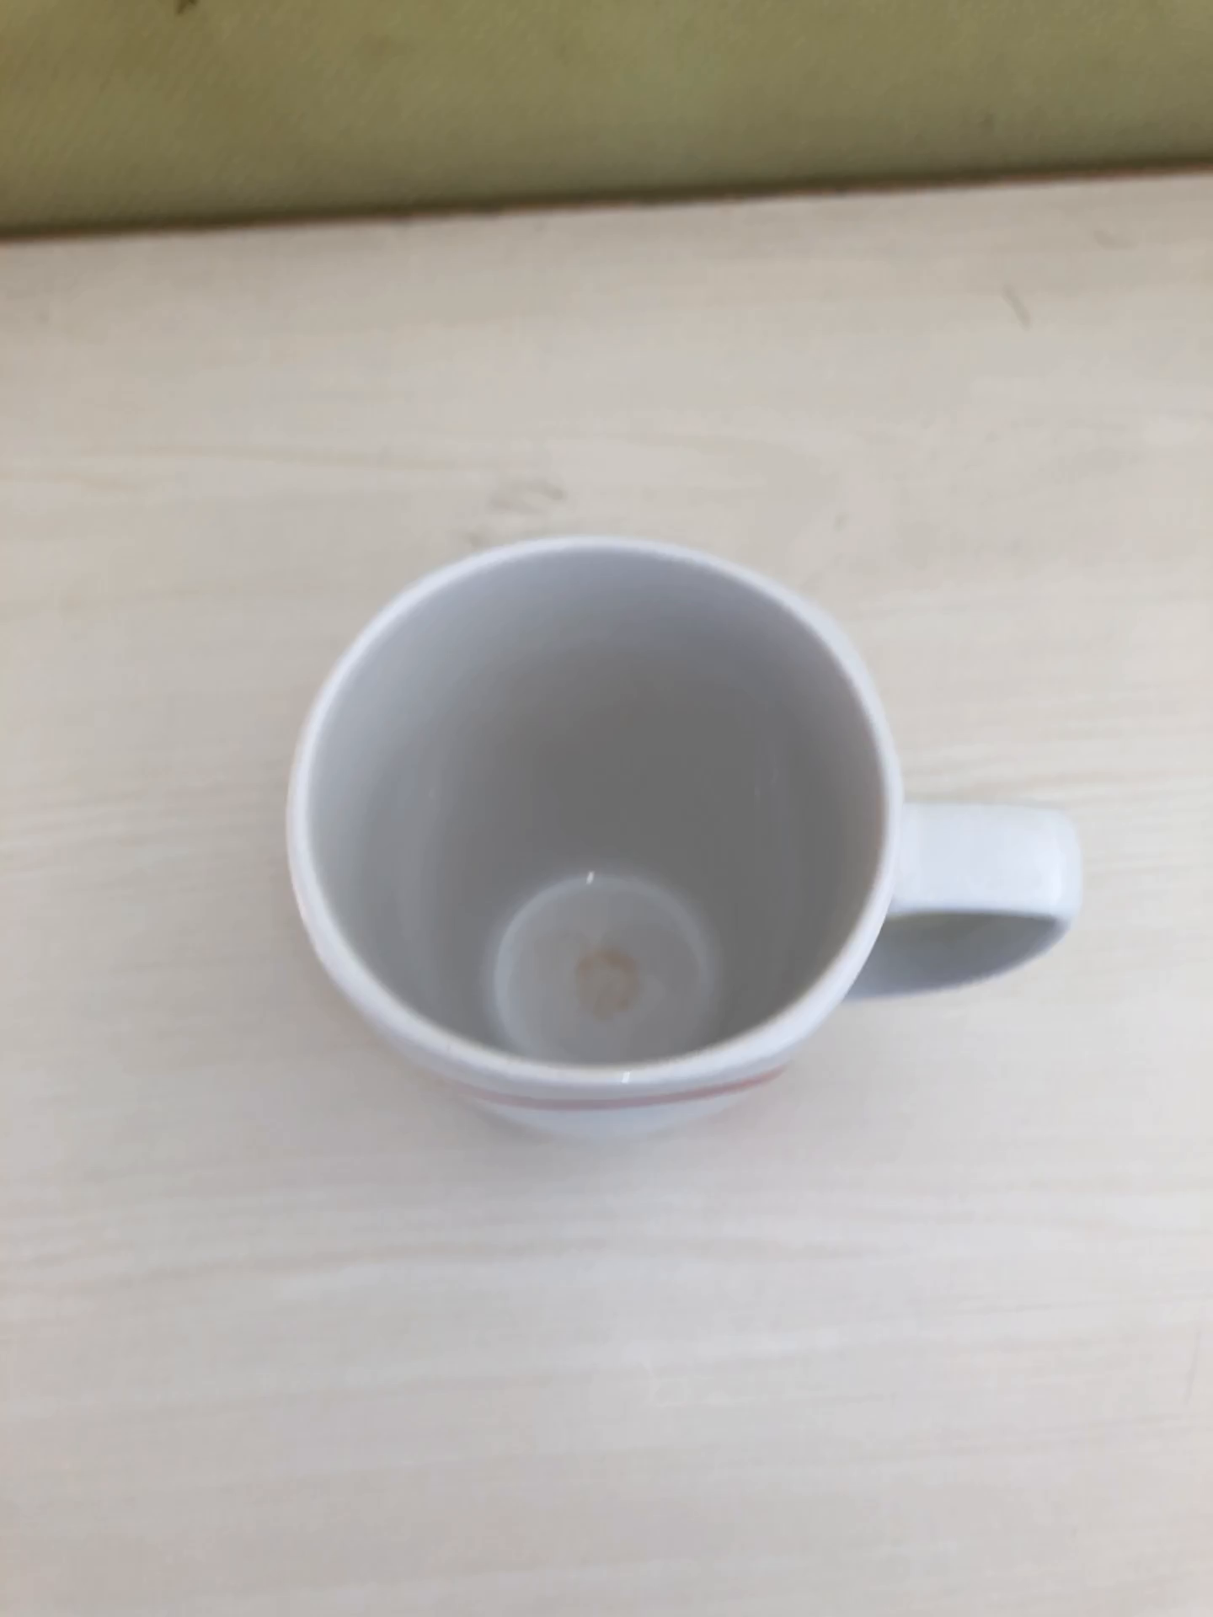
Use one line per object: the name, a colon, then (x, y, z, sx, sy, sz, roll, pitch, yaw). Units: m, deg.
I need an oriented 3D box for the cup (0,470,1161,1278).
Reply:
cup: (0.001, 0.017, 0.227, 0.140, 0.100, 0.090, 6, 65, 4)
